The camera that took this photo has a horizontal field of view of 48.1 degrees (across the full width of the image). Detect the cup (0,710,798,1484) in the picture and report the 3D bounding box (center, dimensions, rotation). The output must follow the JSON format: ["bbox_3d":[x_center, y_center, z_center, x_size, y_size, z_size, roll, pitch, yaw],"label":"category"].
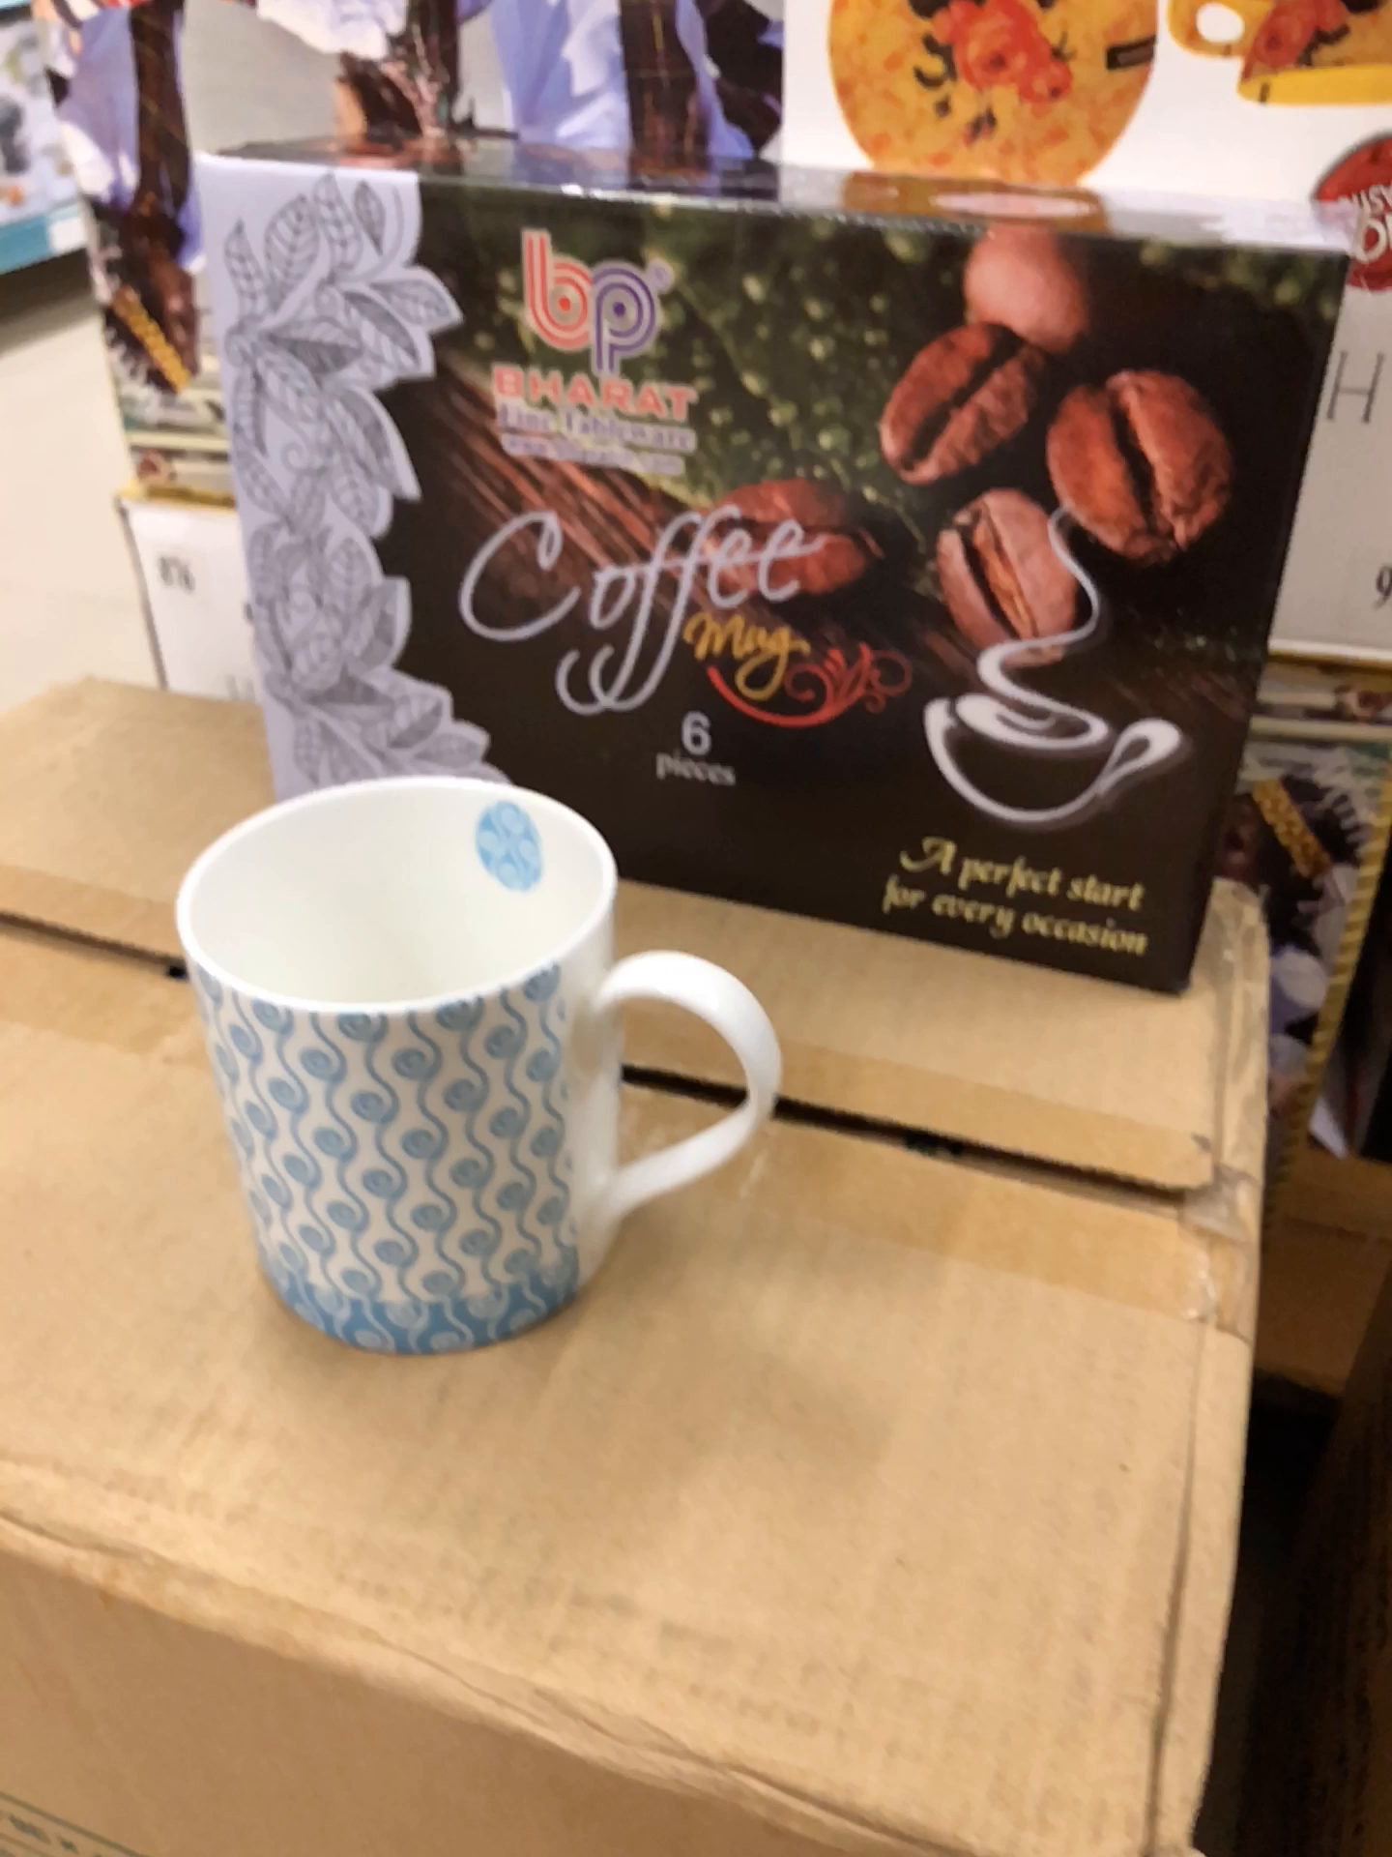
[{"bbox_3d":[-0.046,0.026,0.275,0.110,0.089,0.070,12,37,16],"label":"cup"}]
